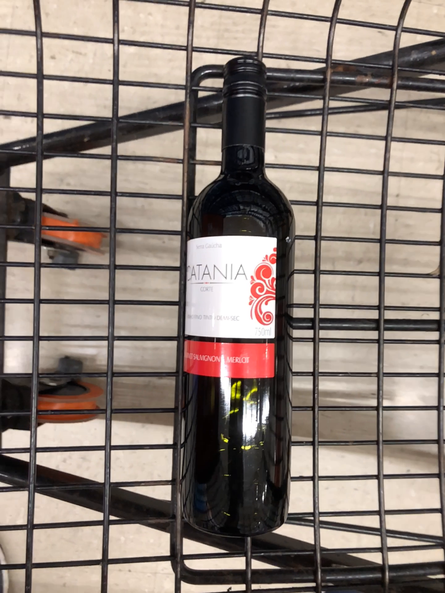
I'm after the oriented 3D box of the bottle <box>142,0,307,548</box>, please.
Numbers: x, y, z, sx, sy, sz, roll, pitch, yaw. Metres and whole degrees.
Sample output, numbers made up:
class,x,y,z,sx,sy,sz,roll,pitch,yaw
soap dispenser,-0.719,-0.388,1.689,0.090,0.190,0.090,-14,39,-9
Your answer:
class,x,y,z,sx,sy,sz,roll,pitch,yaw
bottle,0.002,-0.014,0.320,0.080,0.070,0.300,-1,89,38
